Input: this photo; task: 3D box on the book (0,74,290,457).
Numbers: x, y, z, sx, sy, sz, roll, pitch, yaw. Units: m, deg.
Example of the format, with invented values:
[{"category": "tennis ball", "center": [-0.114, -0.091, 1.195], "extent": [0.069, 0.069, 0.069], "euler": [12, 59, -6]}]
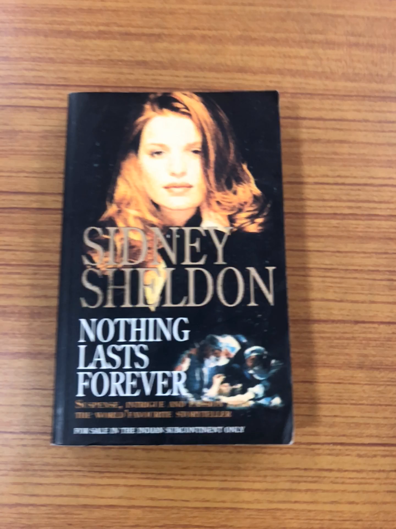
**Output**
[{"category": "book", "center": [-0.023, -0.004, 0.214], "extent": [0.120, 0.030, 0.170], "euler": [-1, 81, -1]}]
